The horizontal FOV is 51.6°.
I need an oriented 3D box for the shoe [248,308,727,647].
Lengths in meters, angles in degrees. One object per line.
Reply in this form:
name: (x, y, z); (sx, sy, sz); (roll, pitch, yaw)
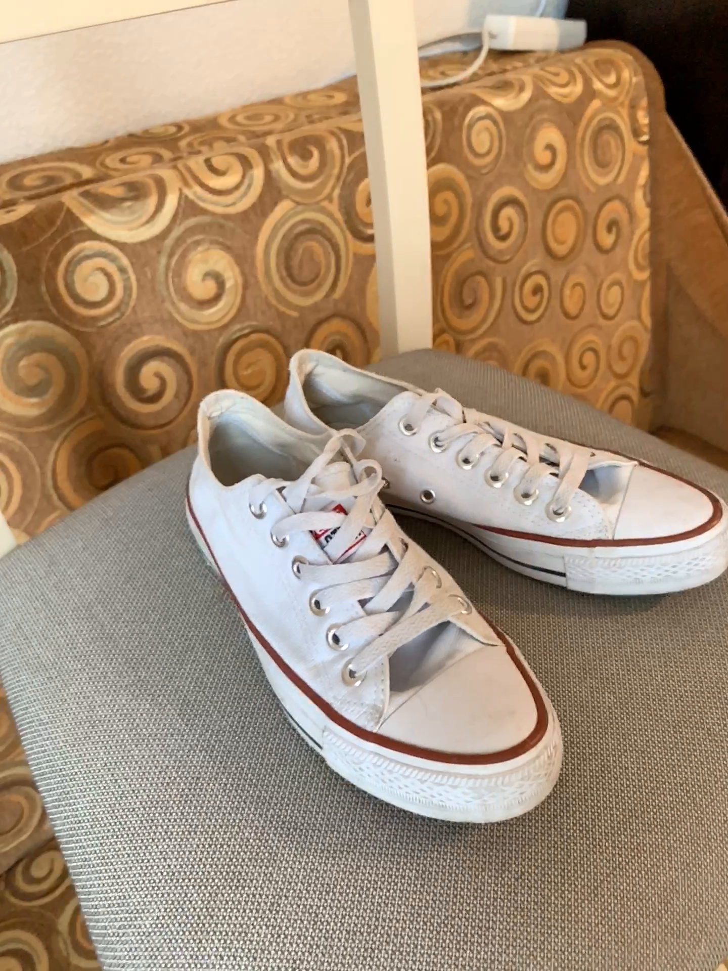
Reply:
shoe: (0.064, -0.012, 0.369); (0.220, 0.060, 0.090); (18, 48, 16)

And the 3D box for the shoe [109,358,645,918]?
shoe: (-0.010, 0.041, 0.311); (0.090, 0.060, 0.221); (-28, 52, -26)
